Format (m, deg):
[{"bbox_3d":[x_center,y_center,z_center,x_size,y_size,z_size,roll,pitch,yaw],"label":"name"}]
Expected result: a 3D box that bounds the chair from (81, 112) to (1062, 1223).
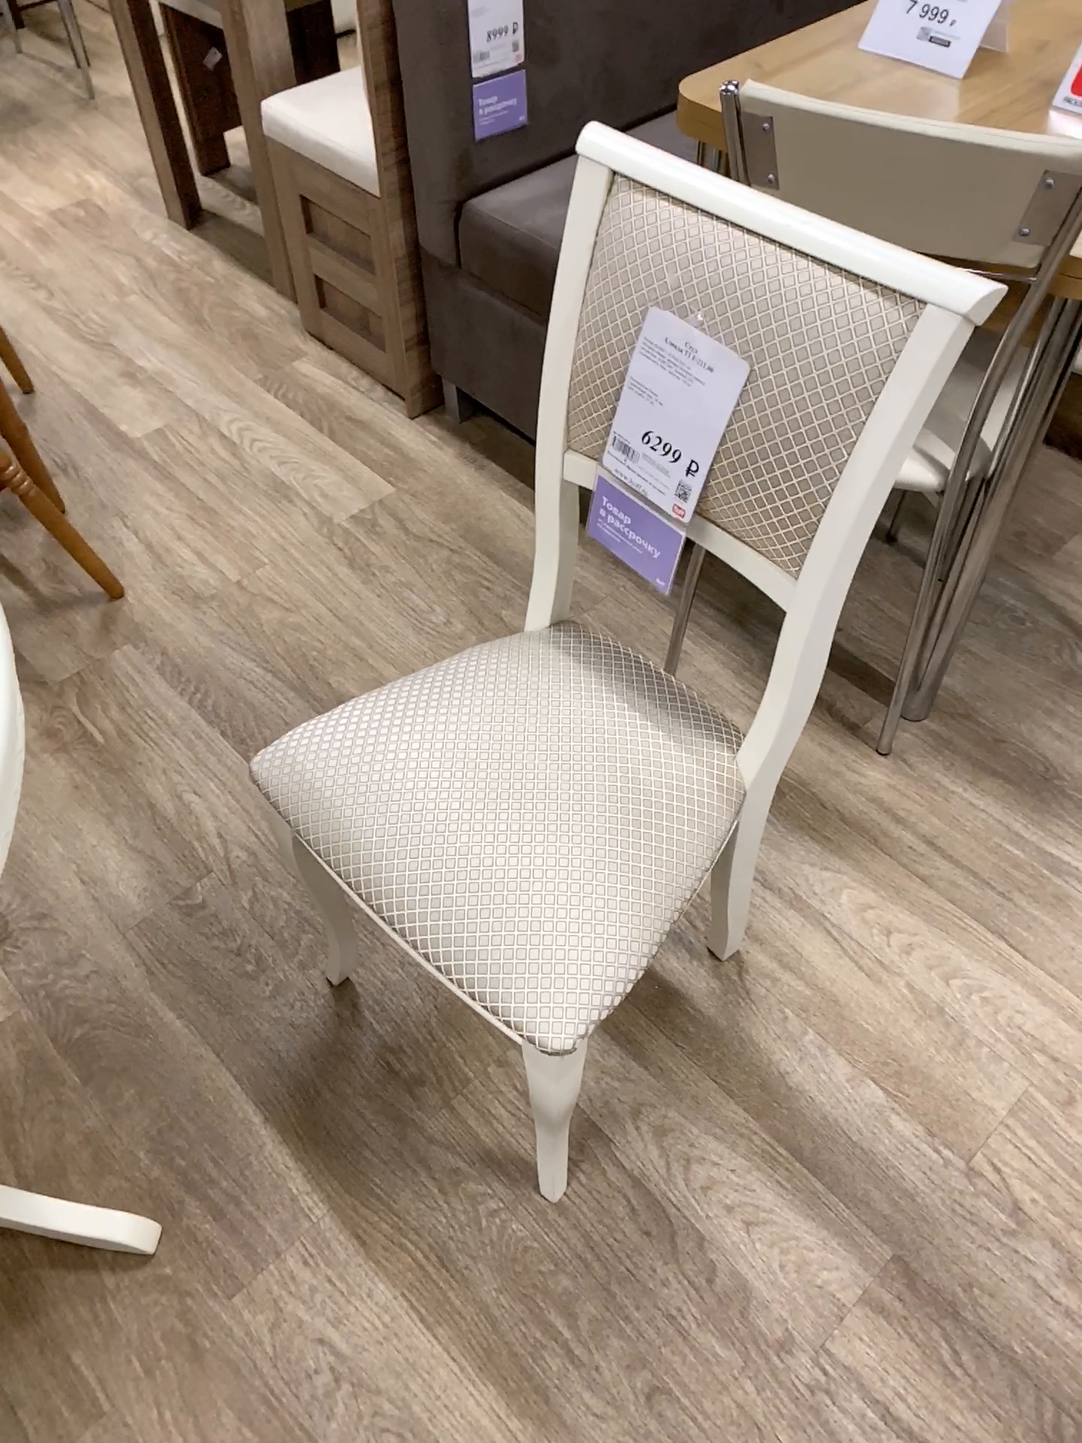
[{"bbox_3d":[0.030,0.014,1.128,0.461,0.926,0.511,36,59,26],"label":"chair"}]
